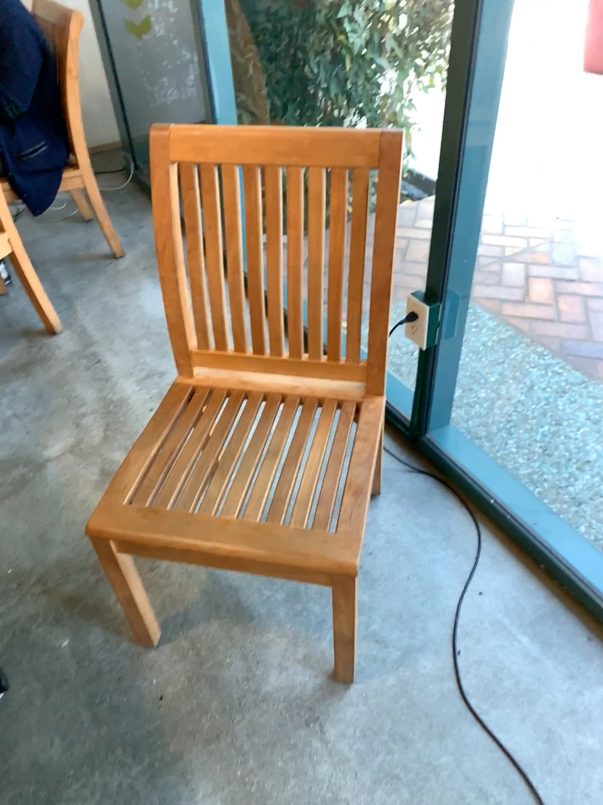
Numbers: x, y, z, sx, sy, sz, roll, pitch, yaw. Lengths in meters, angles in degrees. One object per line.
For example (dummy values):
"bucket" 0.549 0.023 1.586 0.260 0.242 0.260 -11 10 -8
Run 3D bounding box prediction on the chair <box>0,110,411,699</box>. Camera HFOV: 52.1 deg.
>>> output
"chair" -0.114 0.017 1.199 0.530 0.915 0.613 6 42 11
